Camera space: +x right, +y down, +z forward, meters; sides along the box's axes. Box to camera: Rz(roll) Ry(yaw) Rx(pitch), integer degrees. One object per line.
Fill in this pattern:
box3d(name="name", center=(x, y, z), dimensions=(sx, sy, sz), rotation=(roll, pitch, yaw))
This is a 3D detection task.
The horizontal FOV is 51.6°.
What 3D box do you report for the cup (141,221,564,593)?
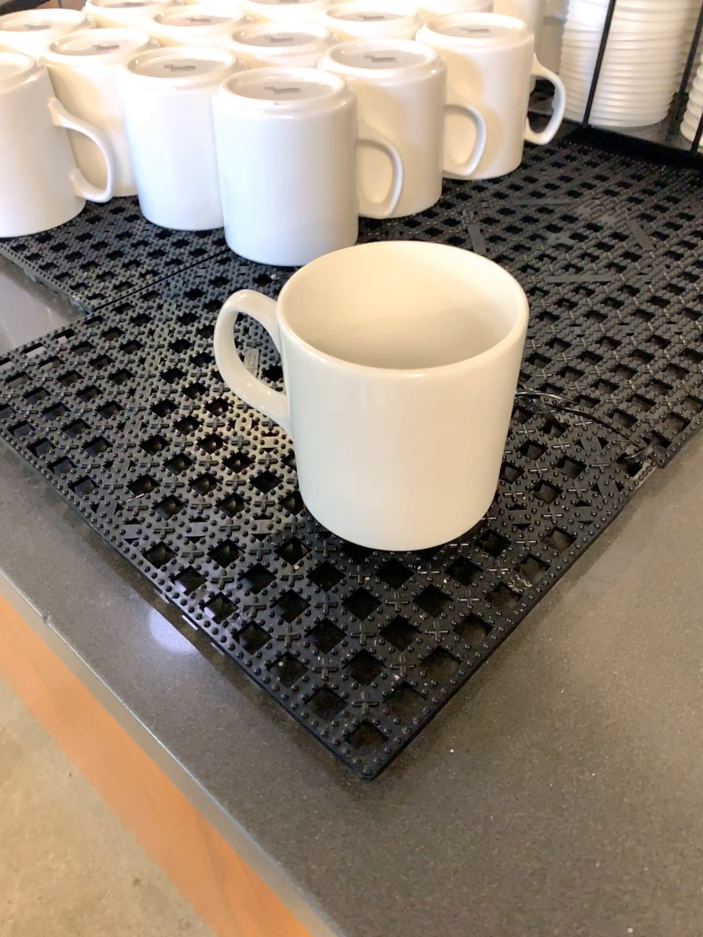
box3d(name="cup", center=(0.005, -0.028, 0.275), dimensions=(0.120, 0.080, 0.090), rotation=(14, 46, 16))
